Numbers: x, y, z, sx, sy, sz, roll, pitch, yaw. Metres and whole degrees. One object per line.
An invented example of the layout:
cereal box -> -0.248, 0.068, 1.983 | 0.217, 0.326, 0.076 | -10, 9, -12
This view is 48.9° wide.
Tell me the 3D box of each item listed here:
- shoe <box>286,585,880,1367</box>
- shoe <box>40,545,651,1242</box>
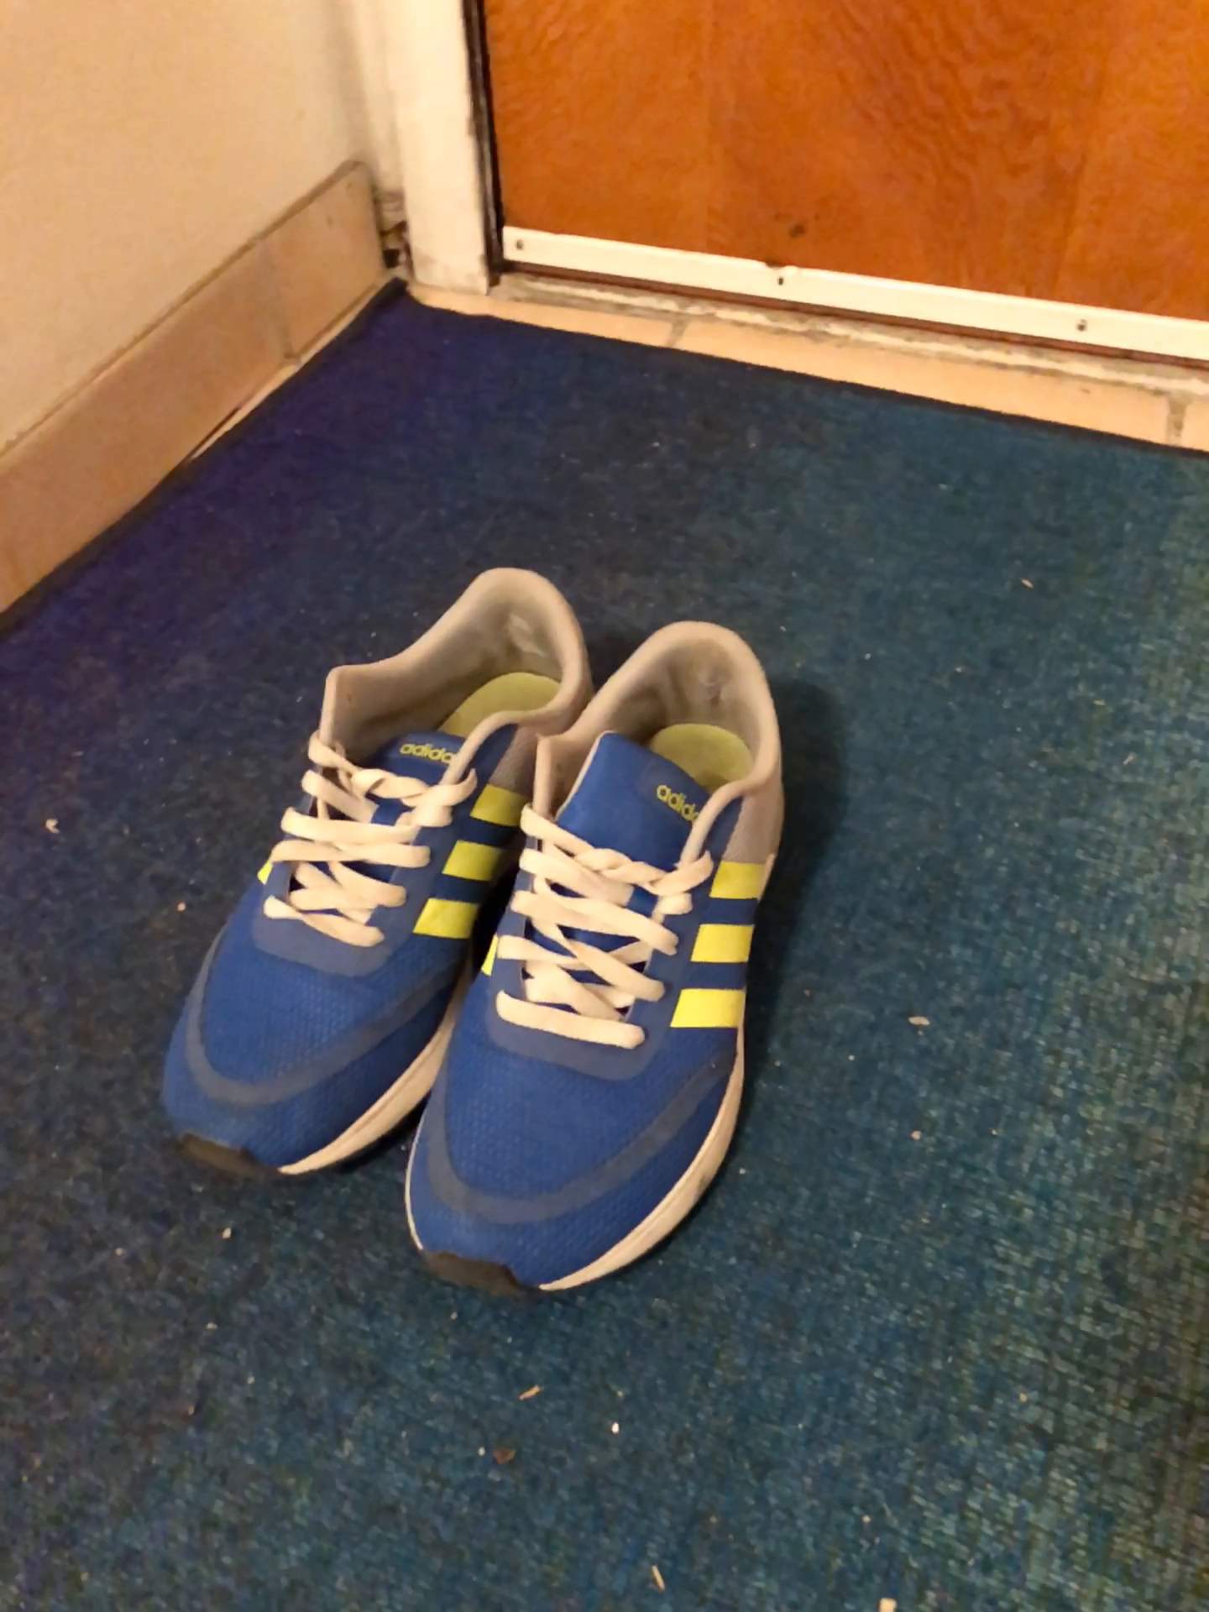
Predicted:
shoe -> 0.009, 0.041, 0.481 | 0.110, 0.089, 0.262 | 15, 48, 16
shoe -> -0.079, 0.017, 0.523 | 0.110, 0.089, 0.262 | 15, 48, 16
